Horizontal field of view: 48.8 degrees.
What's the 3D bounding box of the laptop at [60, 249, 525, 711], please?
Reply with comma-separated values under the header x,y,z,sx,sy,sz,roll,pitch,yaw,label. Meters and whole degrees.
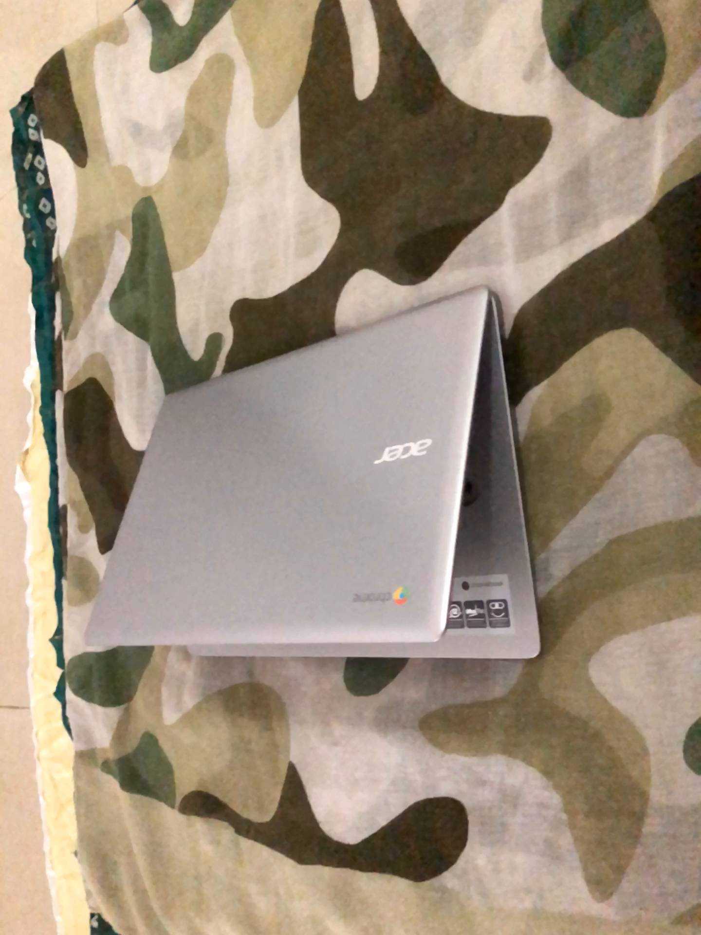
x,y,z,sx,sy,sz,roll,pitch,yaw,label
-0.059,0.022,0.531,0.312,0.125,0.232,-11,77,40,laptop
